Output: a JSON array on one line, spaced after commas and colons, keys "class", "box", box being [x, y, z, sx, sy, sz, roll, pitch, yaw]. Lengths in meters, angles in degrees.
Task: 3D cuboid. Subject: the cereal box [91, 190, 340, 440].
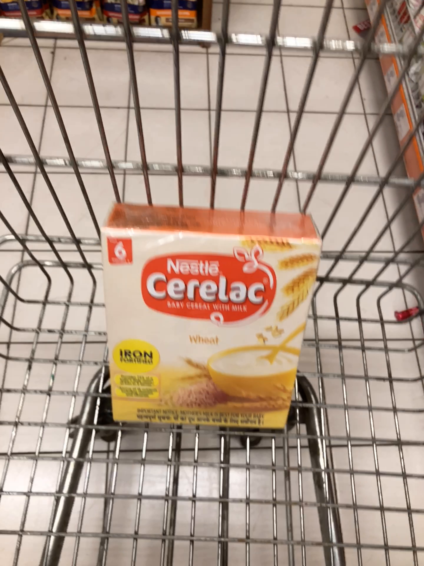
[{"class": "cereal box", "box": [-0.003, 0.031, 0.350, 0.150, 0.179, 0.050, 3, 30, -2]}]
